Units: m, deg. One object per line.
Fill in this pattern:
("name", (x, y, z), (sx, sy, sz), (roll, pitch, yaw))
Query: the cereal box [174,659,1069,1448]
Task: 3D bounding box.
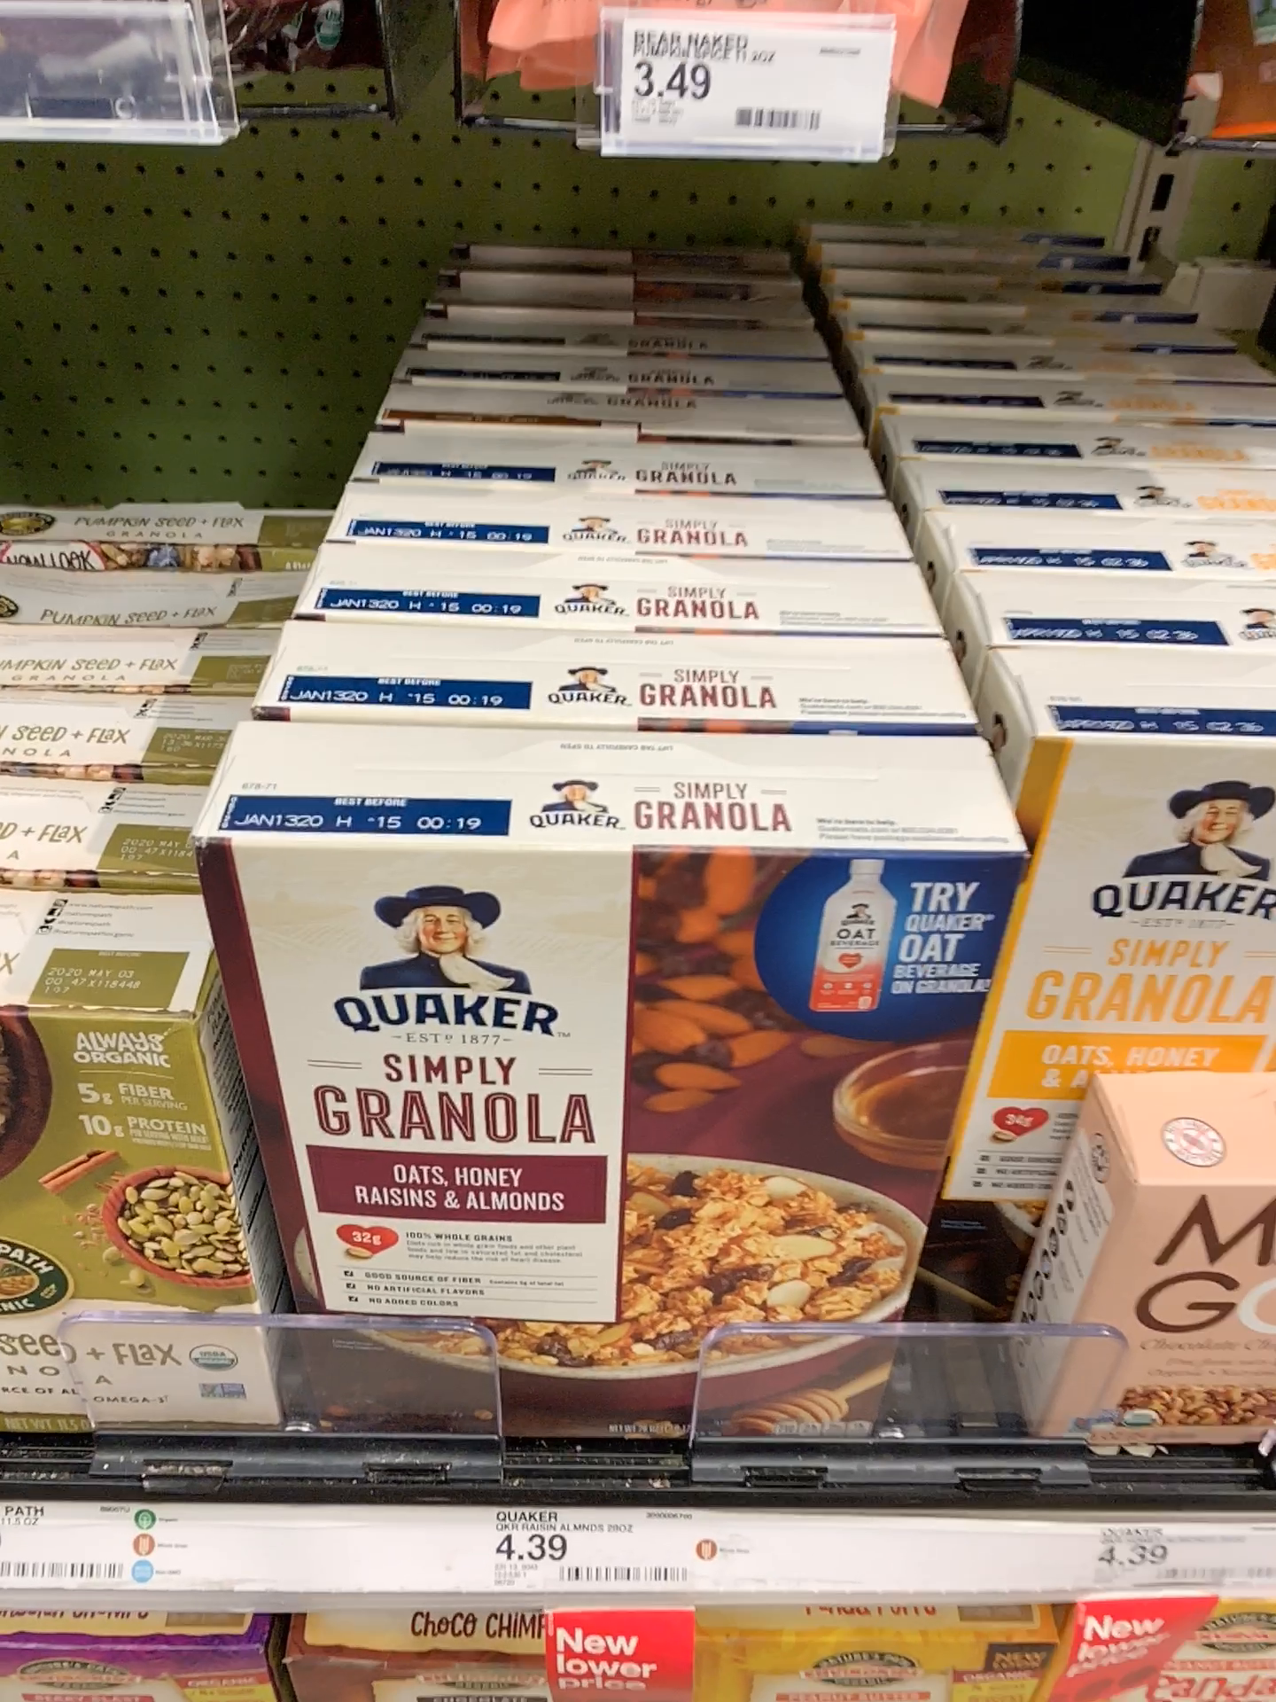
("cereal box", (-0.008, 0.073, 0.366), (0.180, 0.249, 0.060), (1, 38, -2))
